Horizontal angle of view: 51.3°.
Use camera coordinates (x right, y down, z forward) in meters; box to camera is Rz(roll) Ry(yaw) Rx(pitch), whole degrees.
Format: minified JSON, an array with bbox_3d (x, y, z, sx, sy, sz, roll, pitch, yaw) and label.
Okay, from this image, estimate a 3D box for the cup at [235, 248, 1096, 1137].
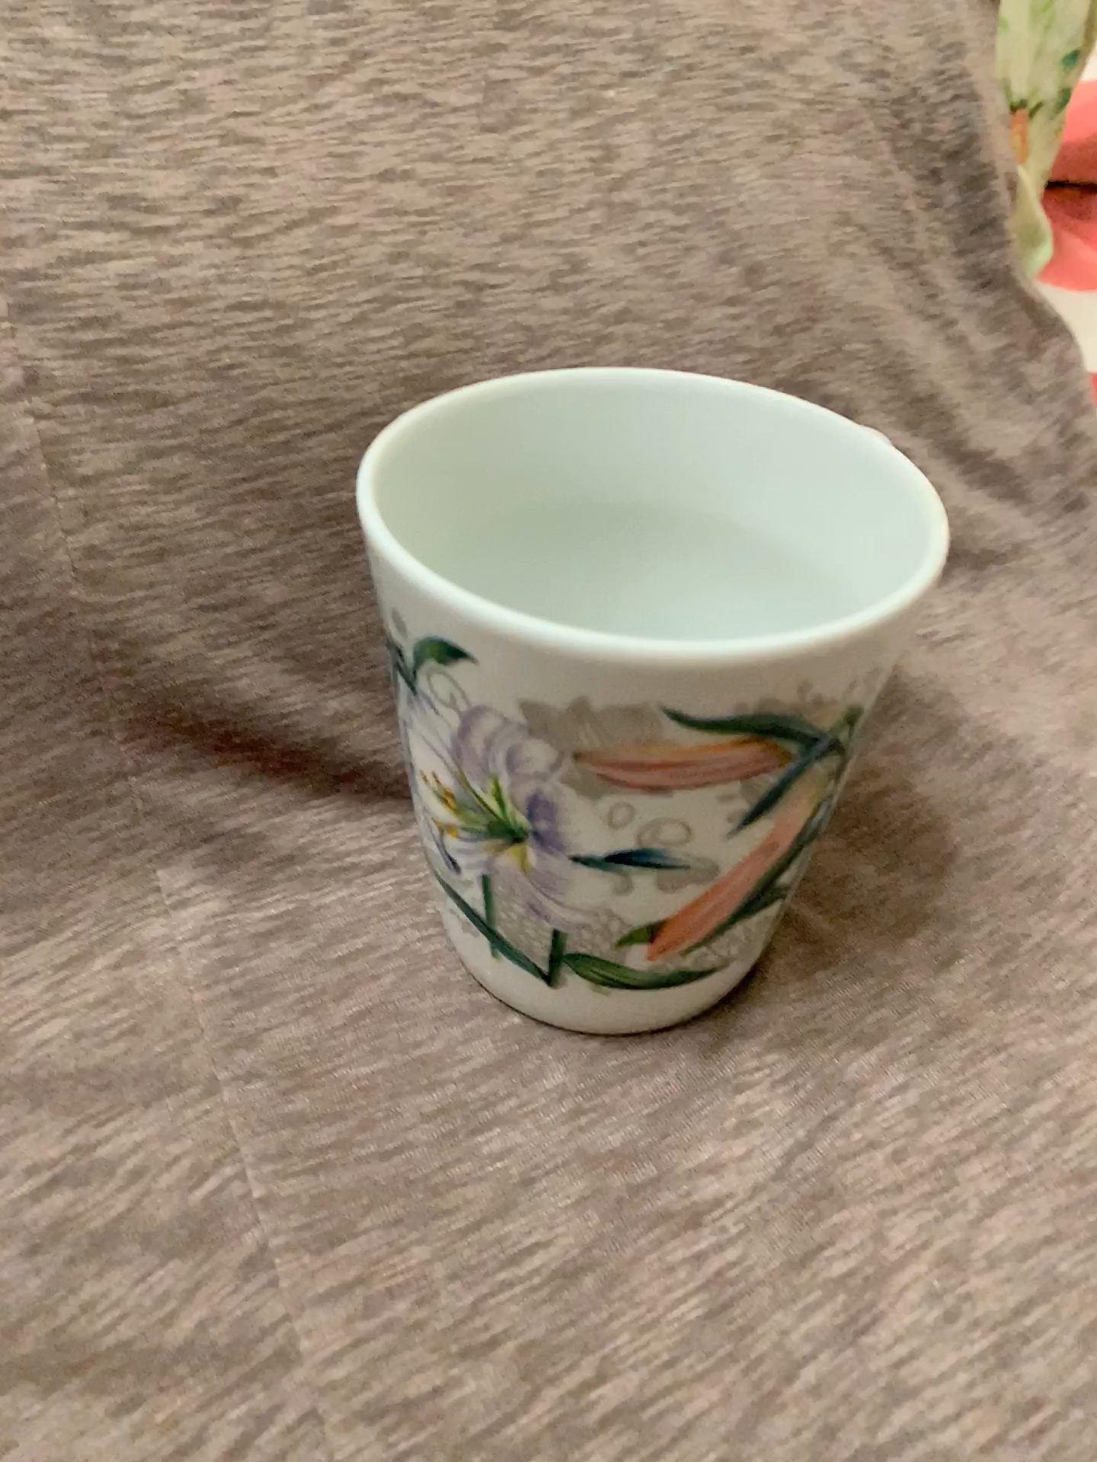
[{"bbox_3d":[0.026,-0.016,0.200,0.119,0.088,0.084,-25,47,-26],"label":"cup"}]
